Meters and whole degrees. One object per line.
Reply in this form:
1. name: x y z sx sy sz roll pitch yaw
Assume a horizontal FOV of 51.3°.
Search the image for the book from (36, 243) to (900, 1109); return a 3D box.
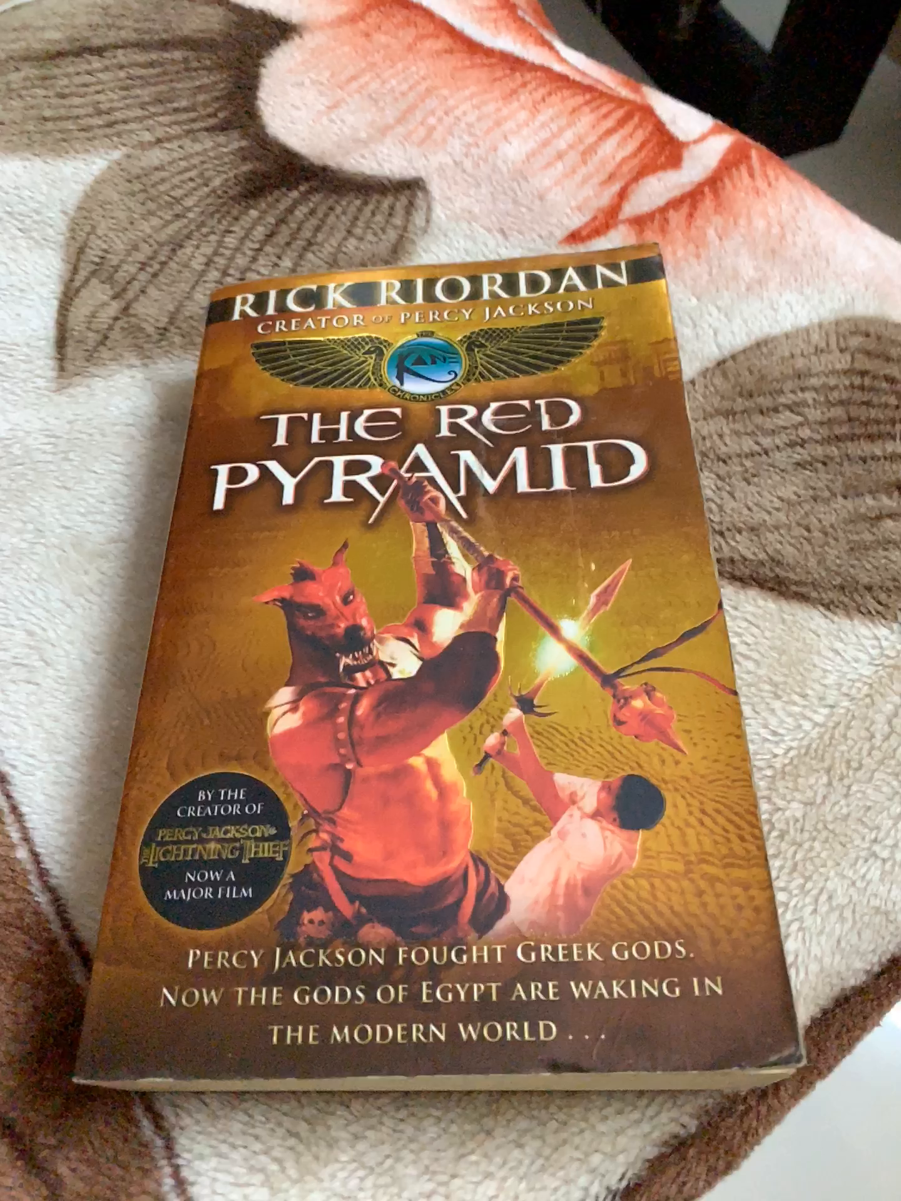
1. book: 0.001 0.001 0.238 0.150 0.040 0.221 -2 58 2
